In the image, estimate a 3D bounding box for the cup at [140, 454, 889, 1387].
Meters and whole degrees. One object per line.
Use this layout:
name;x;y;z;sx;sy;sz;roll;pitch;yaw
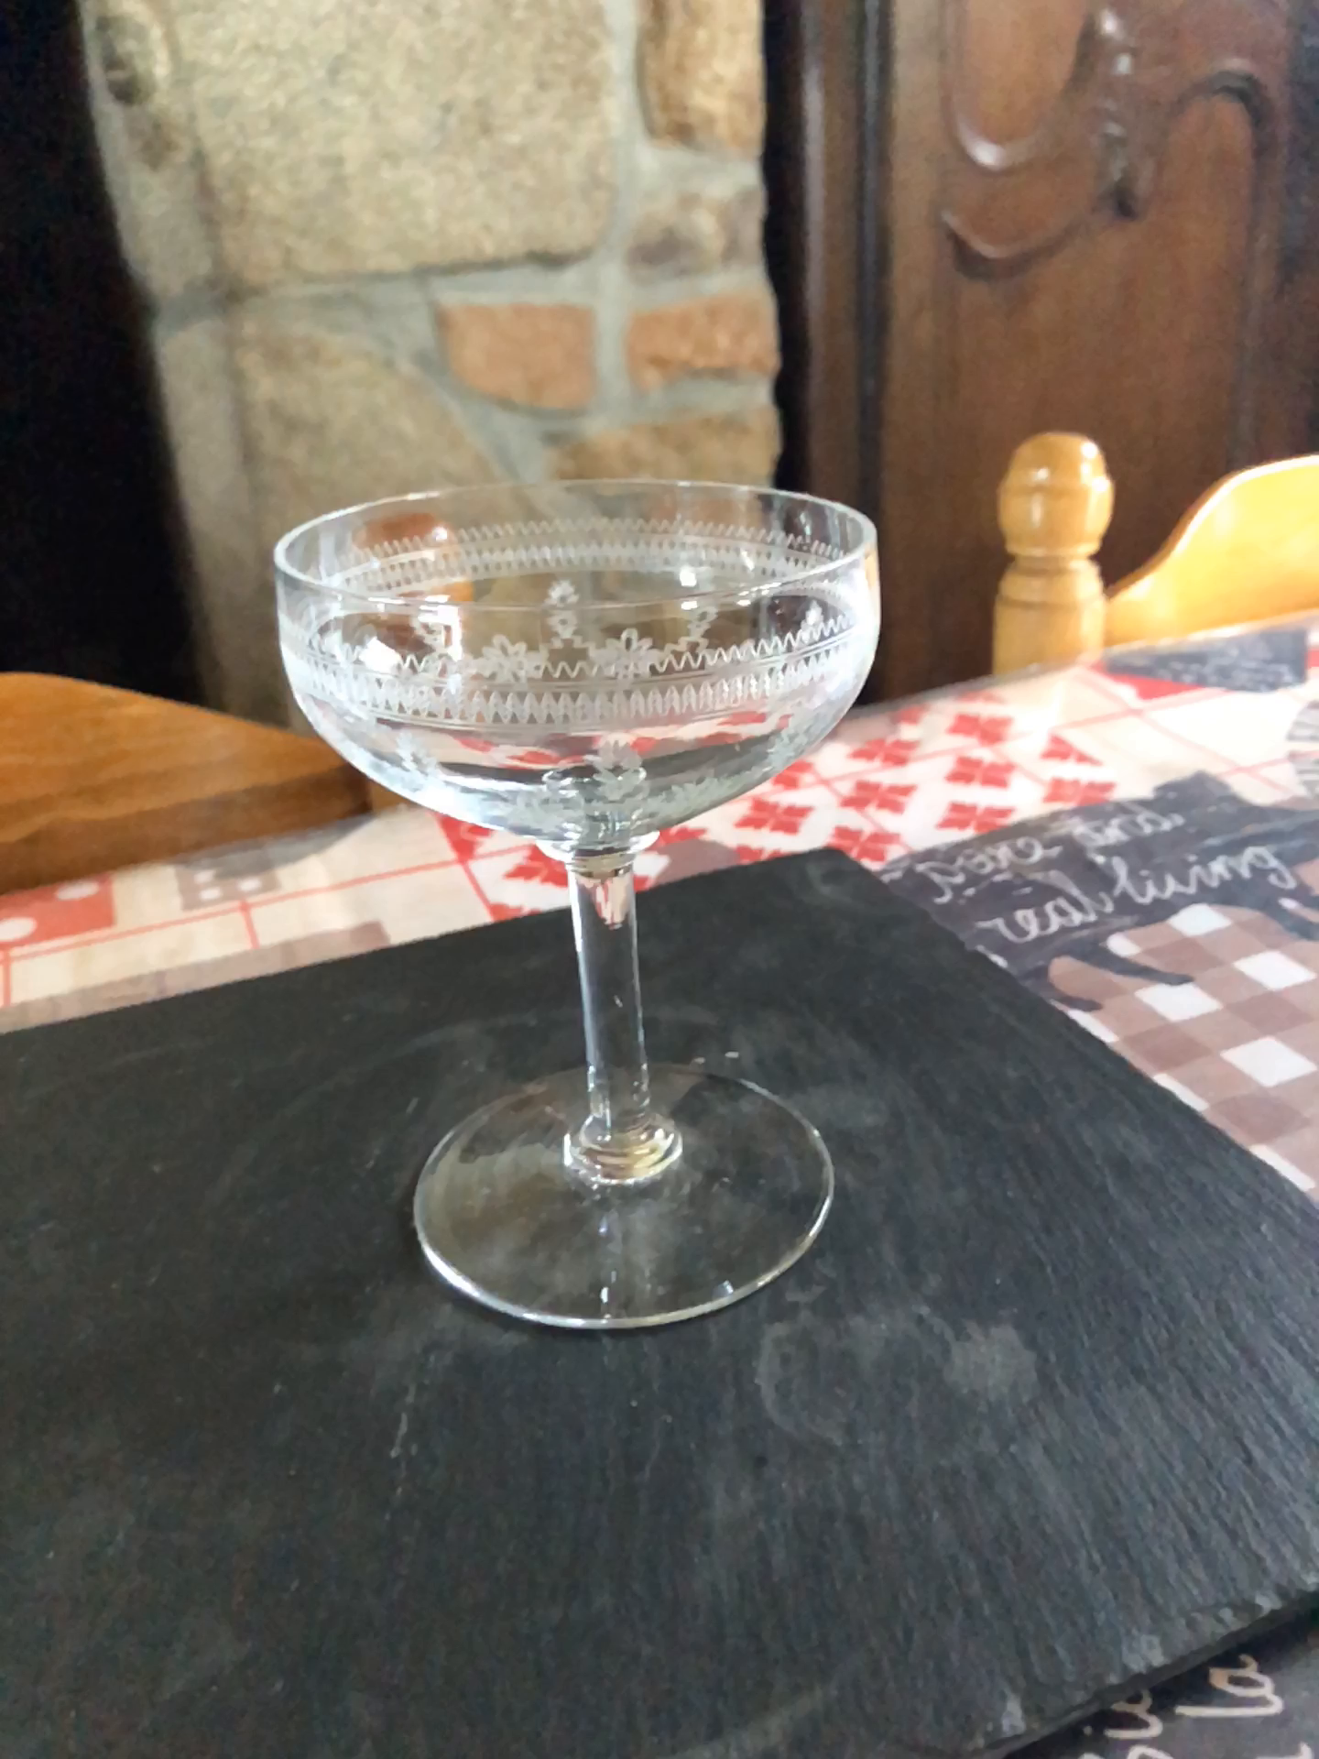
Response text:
cup;-0.016;0.001;0.242;0.090;0.119;0.090;-3;24;1
